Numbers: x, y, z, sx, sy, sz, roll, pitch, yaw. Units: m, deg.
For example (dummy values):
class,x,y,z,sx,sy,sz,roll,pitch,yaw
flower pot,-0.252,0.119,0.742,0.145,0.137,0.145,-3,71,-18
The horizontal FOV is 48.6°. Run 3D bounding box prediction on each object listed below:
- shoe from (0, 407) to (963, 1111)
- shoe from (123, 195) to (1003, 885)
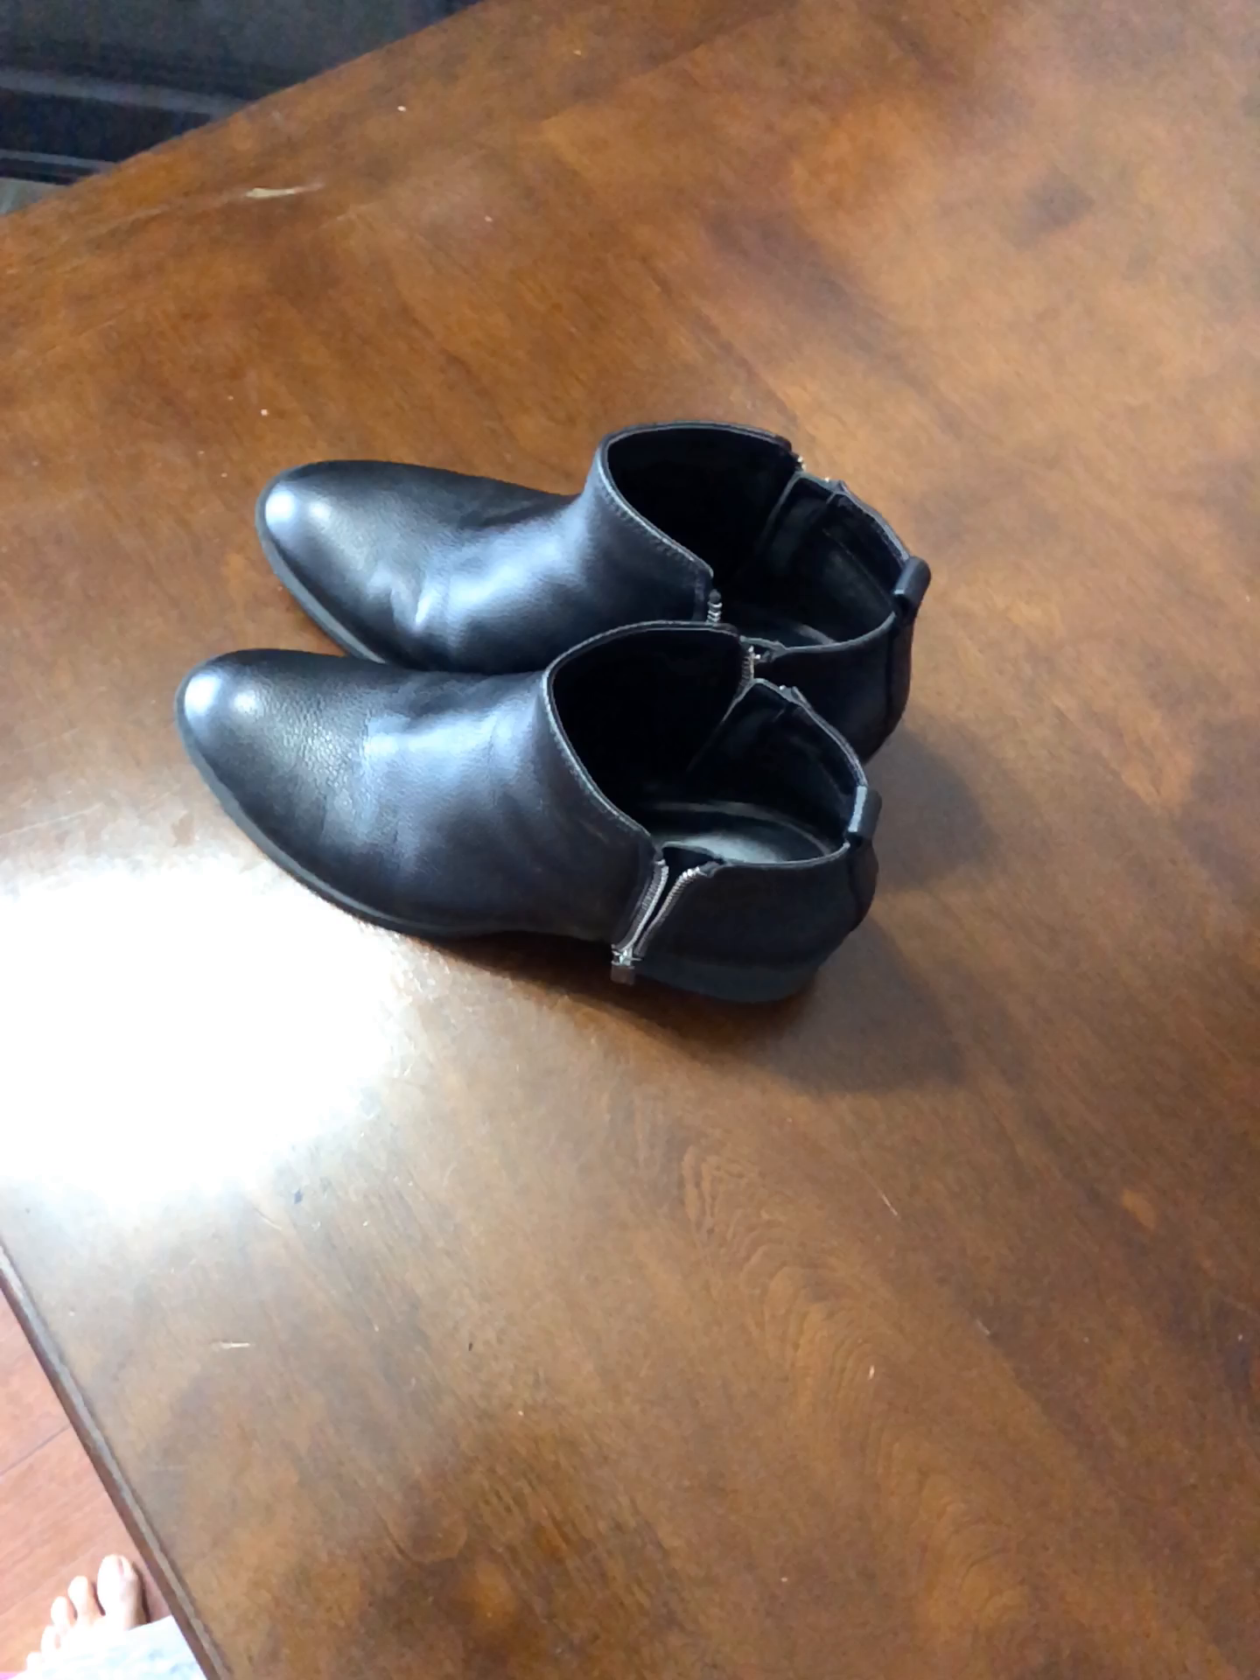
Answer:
class,x,y,z,sx,sy,sz,roll,pitch,yaw
shoe,-0.046,-0.020,0.457,0.260,0.130,0.100,21,68,6
shoe,-0.023,-0.101,0.500,0.260,0.130,0.100,24,68,7
